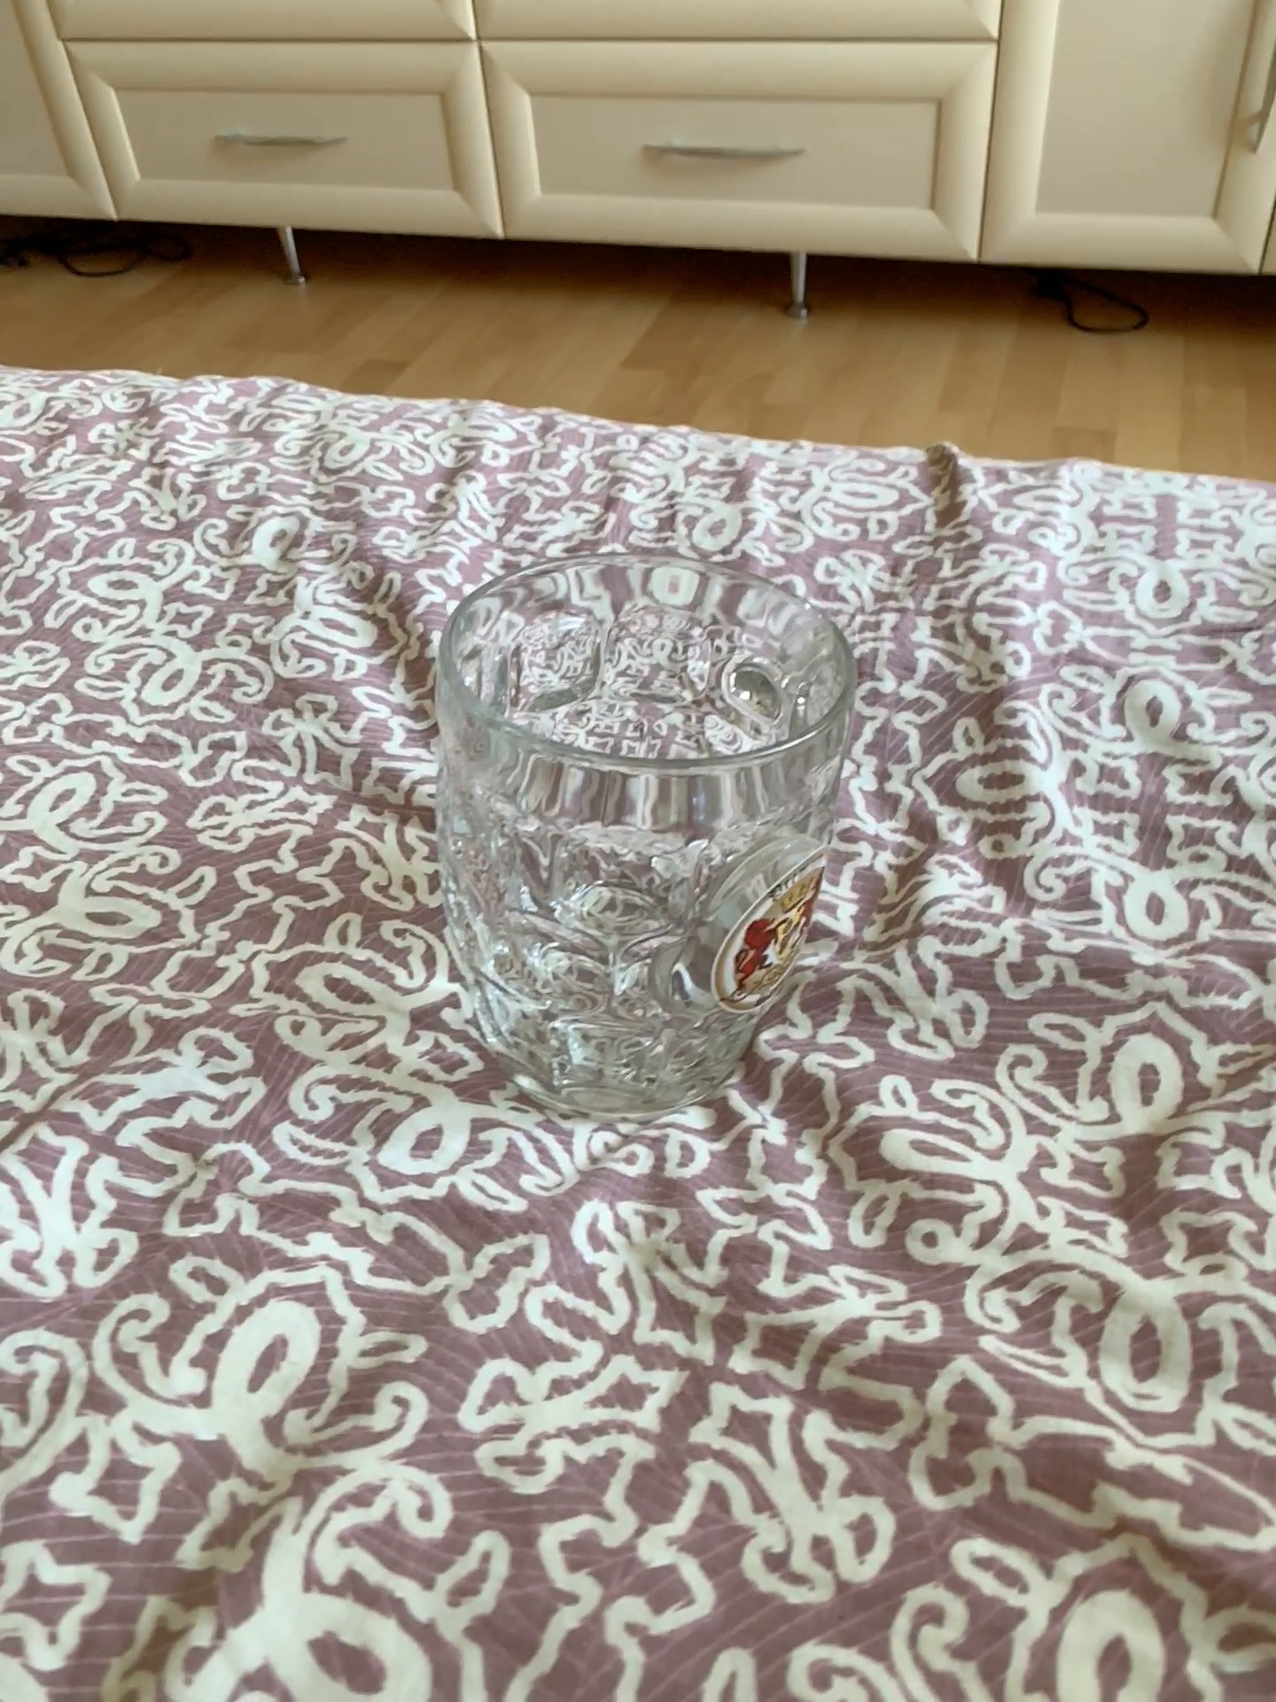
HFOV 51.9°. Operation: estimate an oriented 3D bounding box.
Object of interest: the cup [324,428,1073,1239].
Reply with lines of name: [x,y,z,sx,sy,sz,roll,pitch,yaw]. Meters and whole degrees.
cup: [0.012,-0.009,0.293,0.090,0.109,0.121,34,51,28]
